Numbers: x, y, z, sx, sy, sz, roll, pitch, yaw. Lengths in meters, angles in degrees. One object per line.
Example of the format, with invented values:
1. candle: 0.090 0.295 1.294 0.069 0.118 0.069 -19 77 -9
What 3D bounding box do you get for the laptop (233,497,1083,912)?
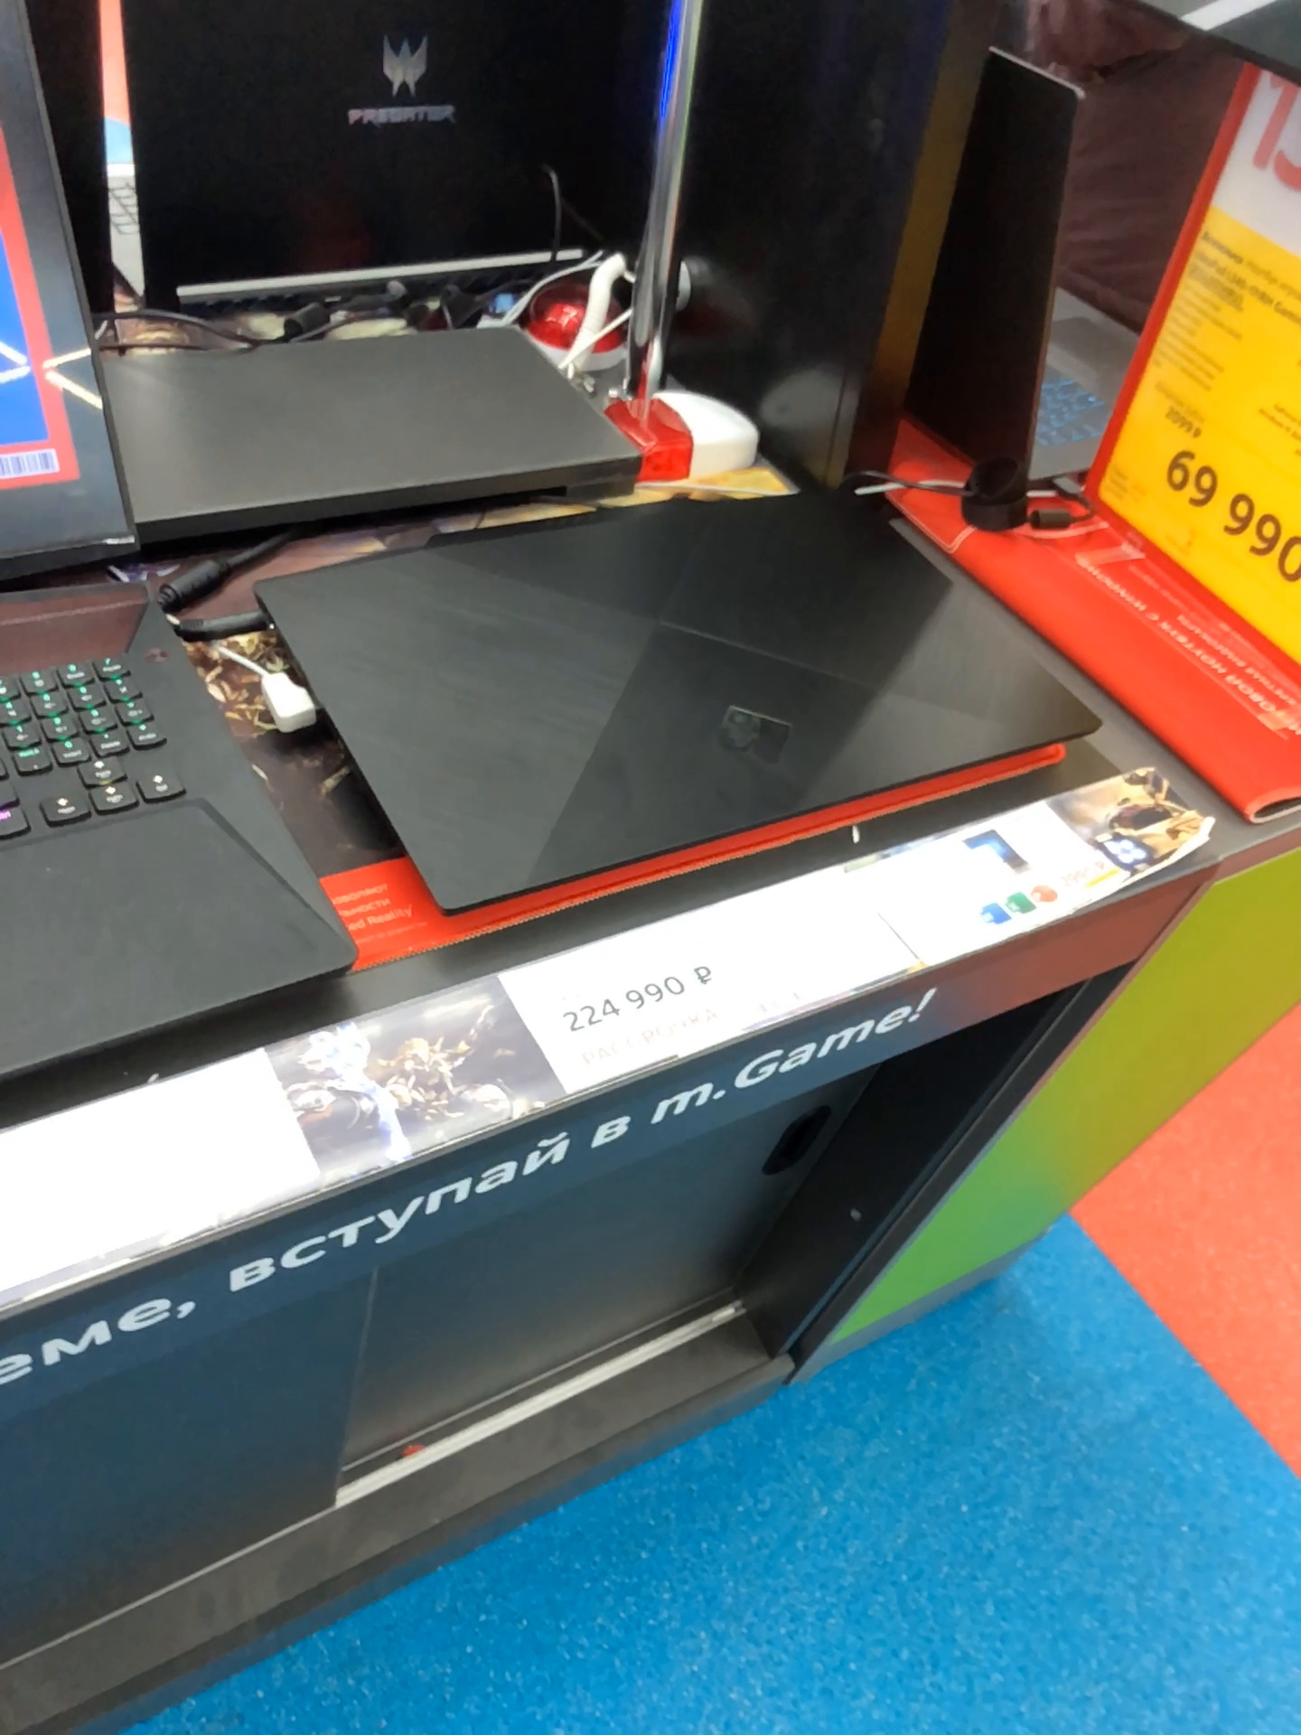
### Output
1. laptop: 0.008 -0.115 0.797 0.398 0.002 0.262 -16 49 -27
